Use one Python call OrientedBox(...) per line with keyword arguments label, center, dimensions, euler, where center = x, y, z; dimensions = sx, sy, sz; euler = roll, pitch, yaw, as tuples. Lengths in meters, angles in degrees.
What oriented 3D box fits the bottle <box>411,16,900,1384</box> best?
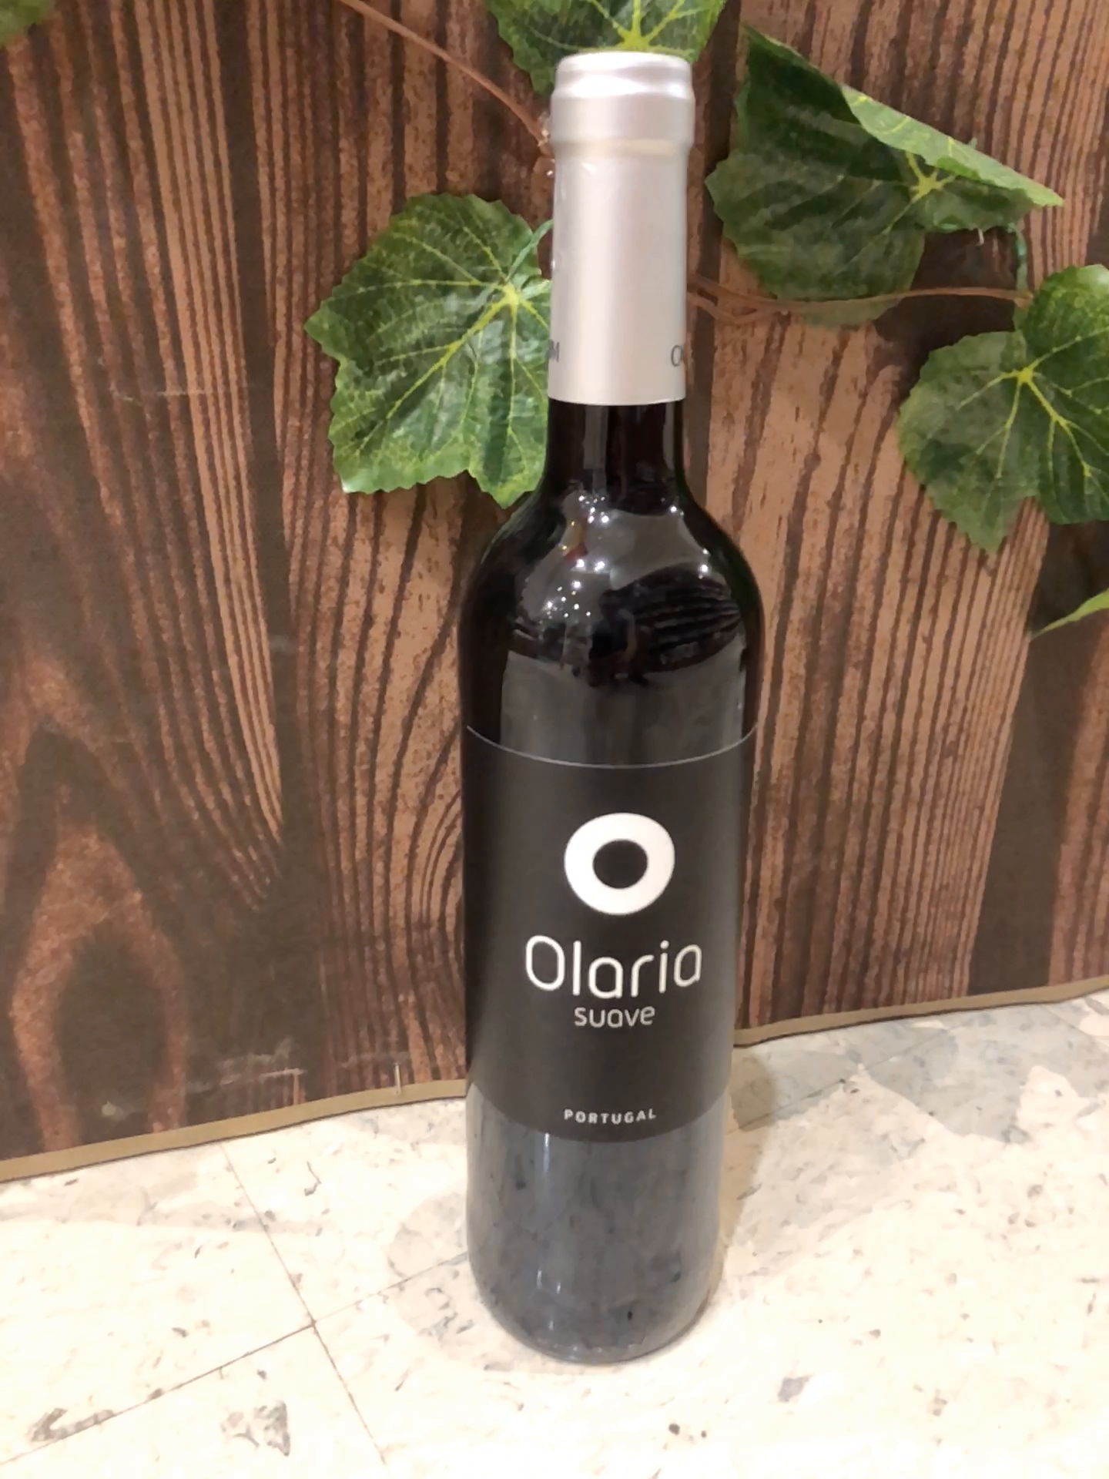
OrientedBox(label="bottle", center=(0.012, 0.006, 0.292), dimensions=(0.080, 0.298, 0.081), euler=(0, 22, 0))
